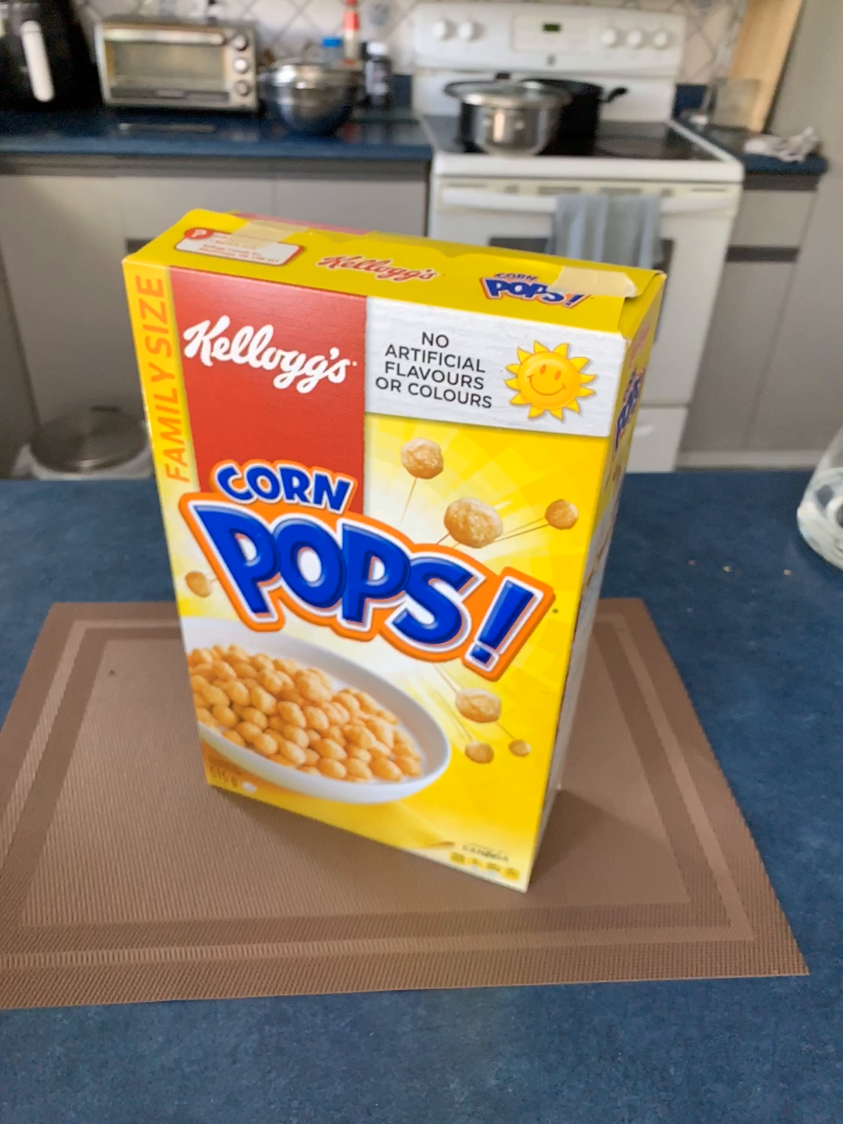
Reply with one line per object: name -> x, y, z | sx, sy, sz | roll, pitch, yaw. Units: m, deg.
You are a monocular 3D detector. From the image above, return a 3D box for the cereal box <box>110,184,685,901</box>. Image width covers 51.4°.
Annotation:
cereal box -> -0.014, 0.001, 0.438 | 0.210, 0.317, 0.091 | 14, 36, 15
